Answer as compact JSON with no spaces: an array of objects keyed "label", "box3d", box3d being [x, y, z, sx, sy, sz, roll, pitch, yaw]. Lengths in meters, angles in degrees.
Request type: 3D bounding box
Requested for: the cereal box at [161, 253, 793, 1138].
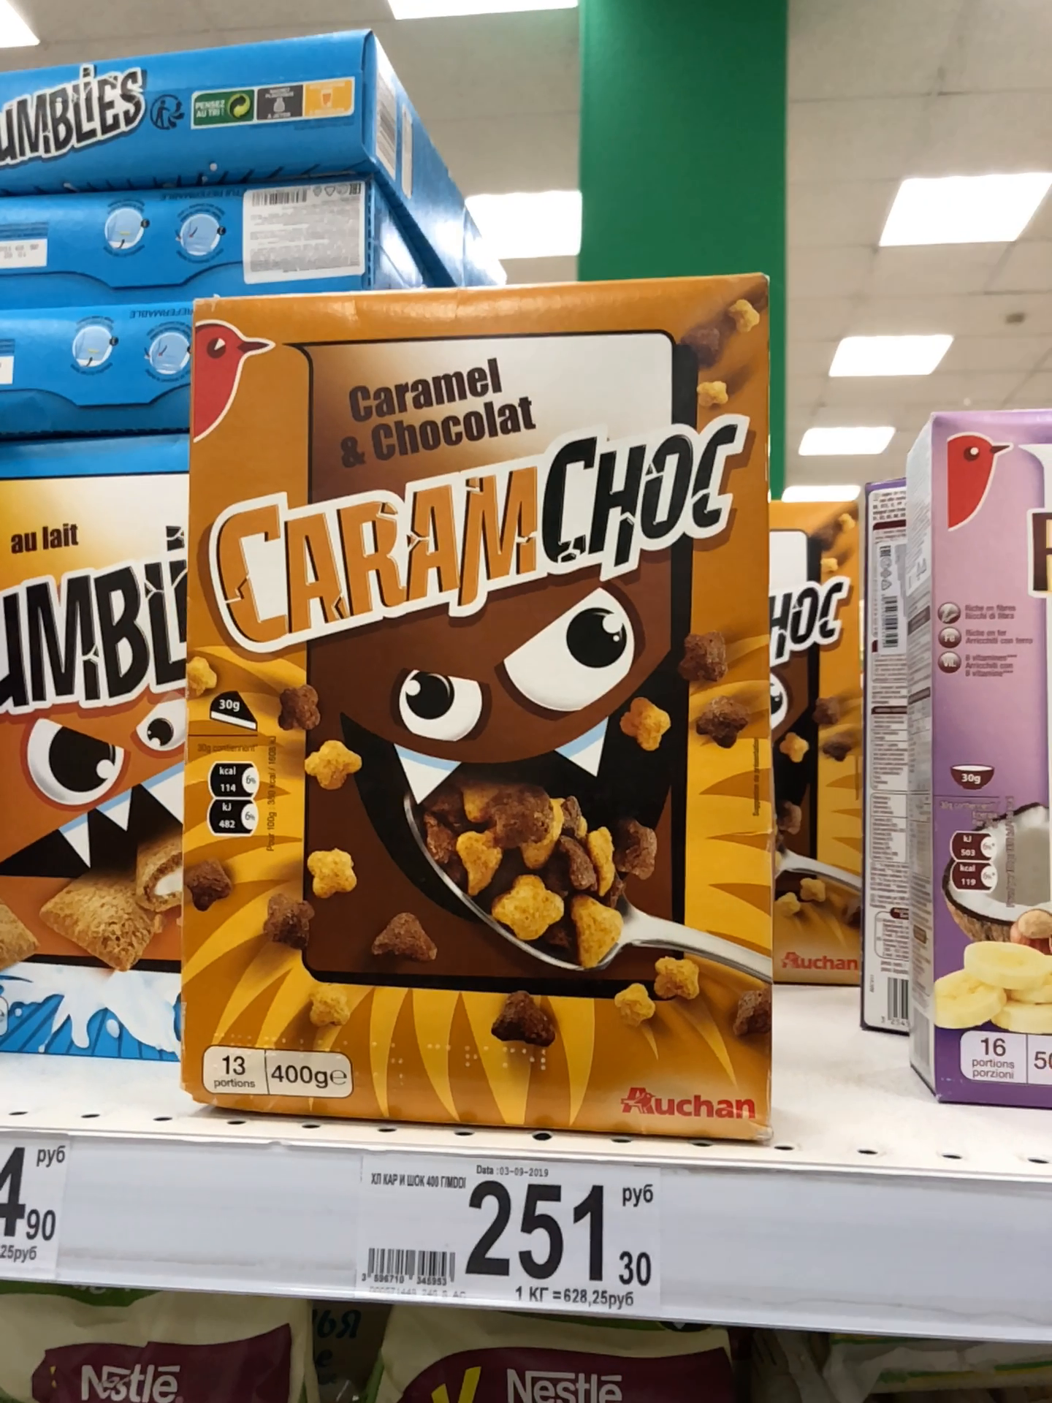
[{"label":"cereal box","box3d":[-0.014,-0.004,0.397,0.200,0.270,0.060,0,-2,8]}]
